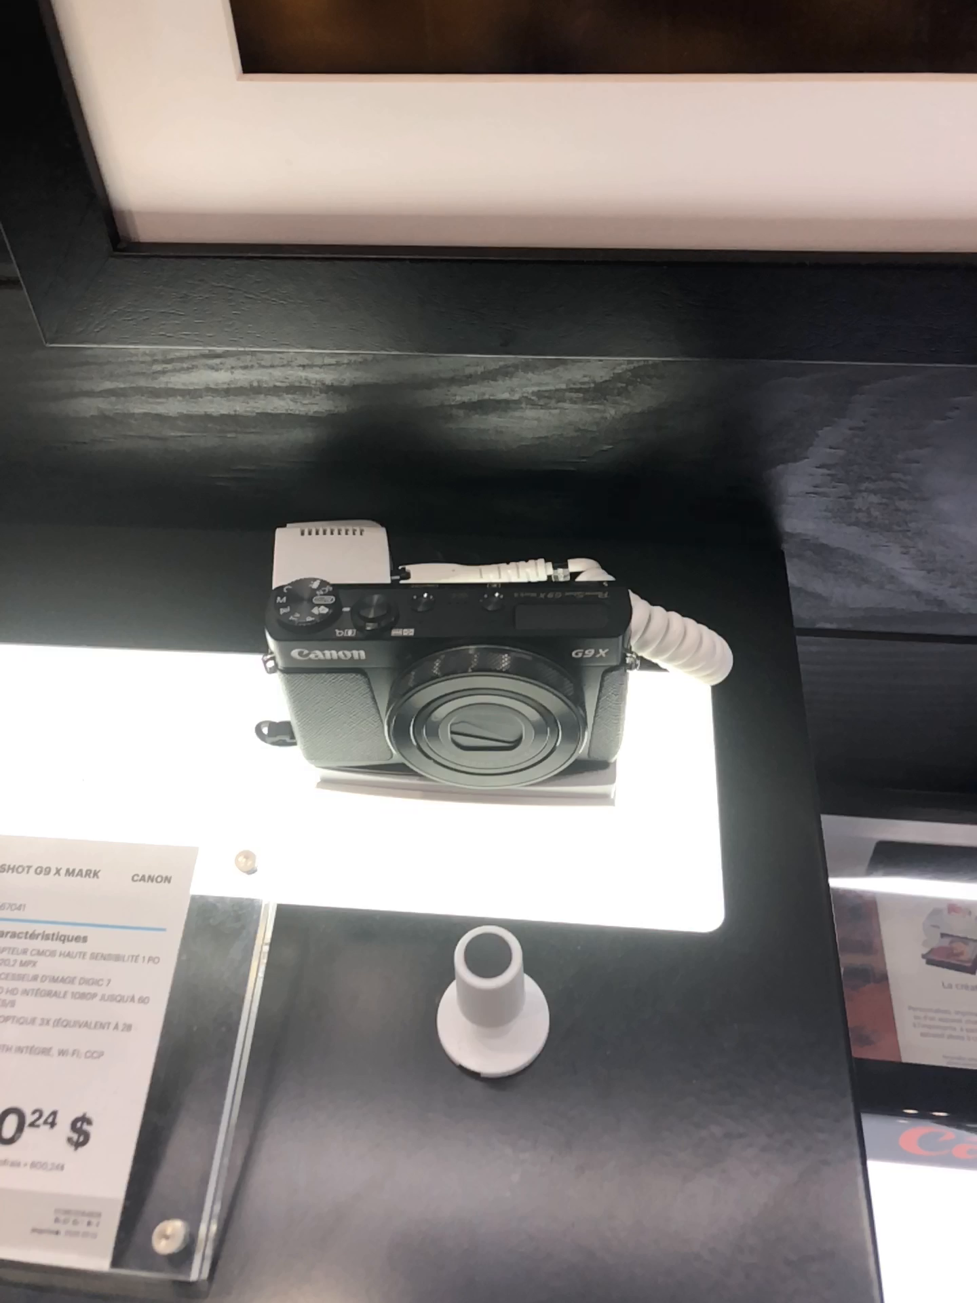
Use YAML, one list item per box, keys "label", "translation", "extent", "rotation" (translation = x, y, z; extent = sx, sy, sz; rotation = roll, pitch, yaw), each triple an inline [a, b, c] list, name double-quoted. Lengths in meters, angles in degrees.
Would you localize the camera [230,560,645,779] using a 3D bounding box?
- label: "camera"
  translation: [-0.012, 0.006, 0.289]
  extent: [0.100, 0.058, 0.025]
  rotation: [0, 46, 2]
